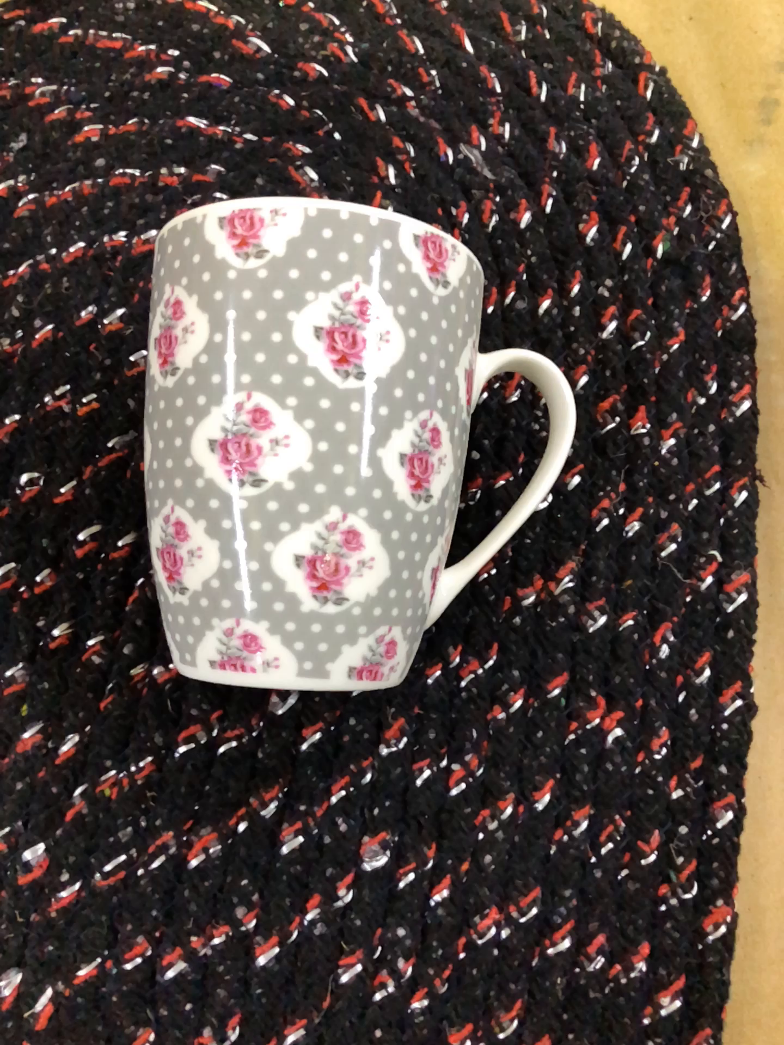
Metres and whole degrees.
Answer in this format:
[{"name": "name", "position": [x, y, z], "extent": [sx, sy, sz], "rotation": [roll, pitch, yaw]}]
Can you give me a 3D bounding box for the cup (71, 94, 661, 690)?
[{"name": "cup", "position": [-0.013, -0.019, 0.212], "extent": [0.110, 0.090, 0.100], "rotation": [0, 89, -22]}]
